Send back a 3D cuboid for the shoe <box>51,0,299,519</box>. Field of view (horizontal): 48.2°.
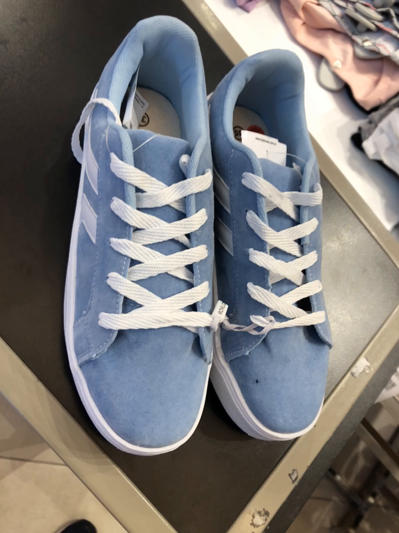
[{"bbox_3d":[-0.030,-0.009,0.263,0.100,0.120,0.240,2,76,-21],"label":"shoe"}]

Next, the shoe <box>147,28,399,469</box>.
[{"bbox_3d":[0.036,-0.009,0.307,0.100,0.120,0.240,-1,77,-21],"label":"shoe"}]
